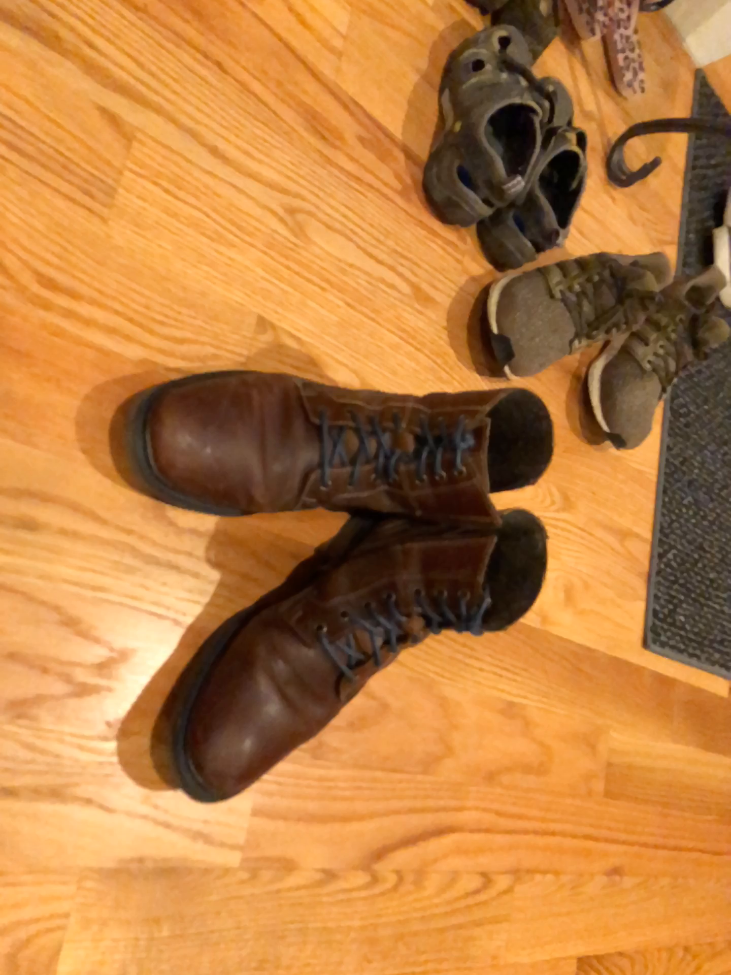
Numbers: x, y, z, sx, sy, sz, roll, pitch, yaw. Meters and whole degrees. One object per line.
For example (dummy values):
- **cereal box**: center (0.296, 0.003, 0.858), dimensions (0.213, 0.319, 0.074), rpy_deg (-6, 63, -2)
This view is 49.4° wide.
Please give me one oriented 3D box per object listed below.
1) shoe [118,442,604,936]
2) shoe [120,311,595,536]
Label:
- **shoe**: center (0.012, 0.115, 0.572), dimensions (0.304, 0.176, 0.128), rpy_deg (-47, 117, -36)
- **shoe**: center (0.007, -0.029, 0.579), dimensions (0.311, 0.168, 0.113), rpy_deg (1, 85, -44)
